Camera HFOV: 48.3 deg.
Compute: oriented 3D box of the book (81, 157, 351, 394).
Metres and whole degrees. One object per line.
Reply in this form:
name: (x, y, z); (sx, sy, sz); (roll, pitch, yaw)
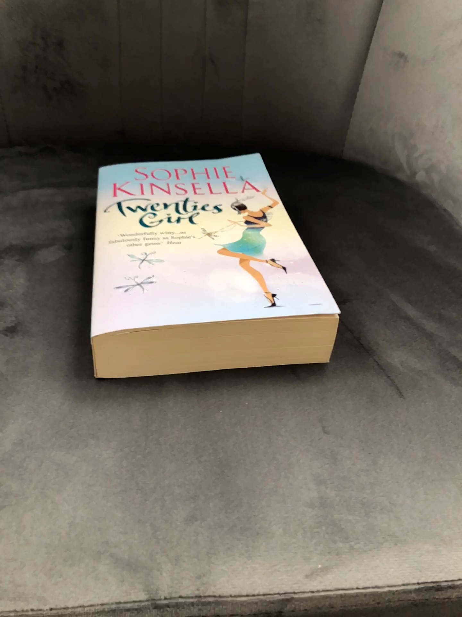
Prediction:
book: (-0.023, -0.039, 0.338); (0.132, 0.043, 0.201); (-3, 39, -11)
